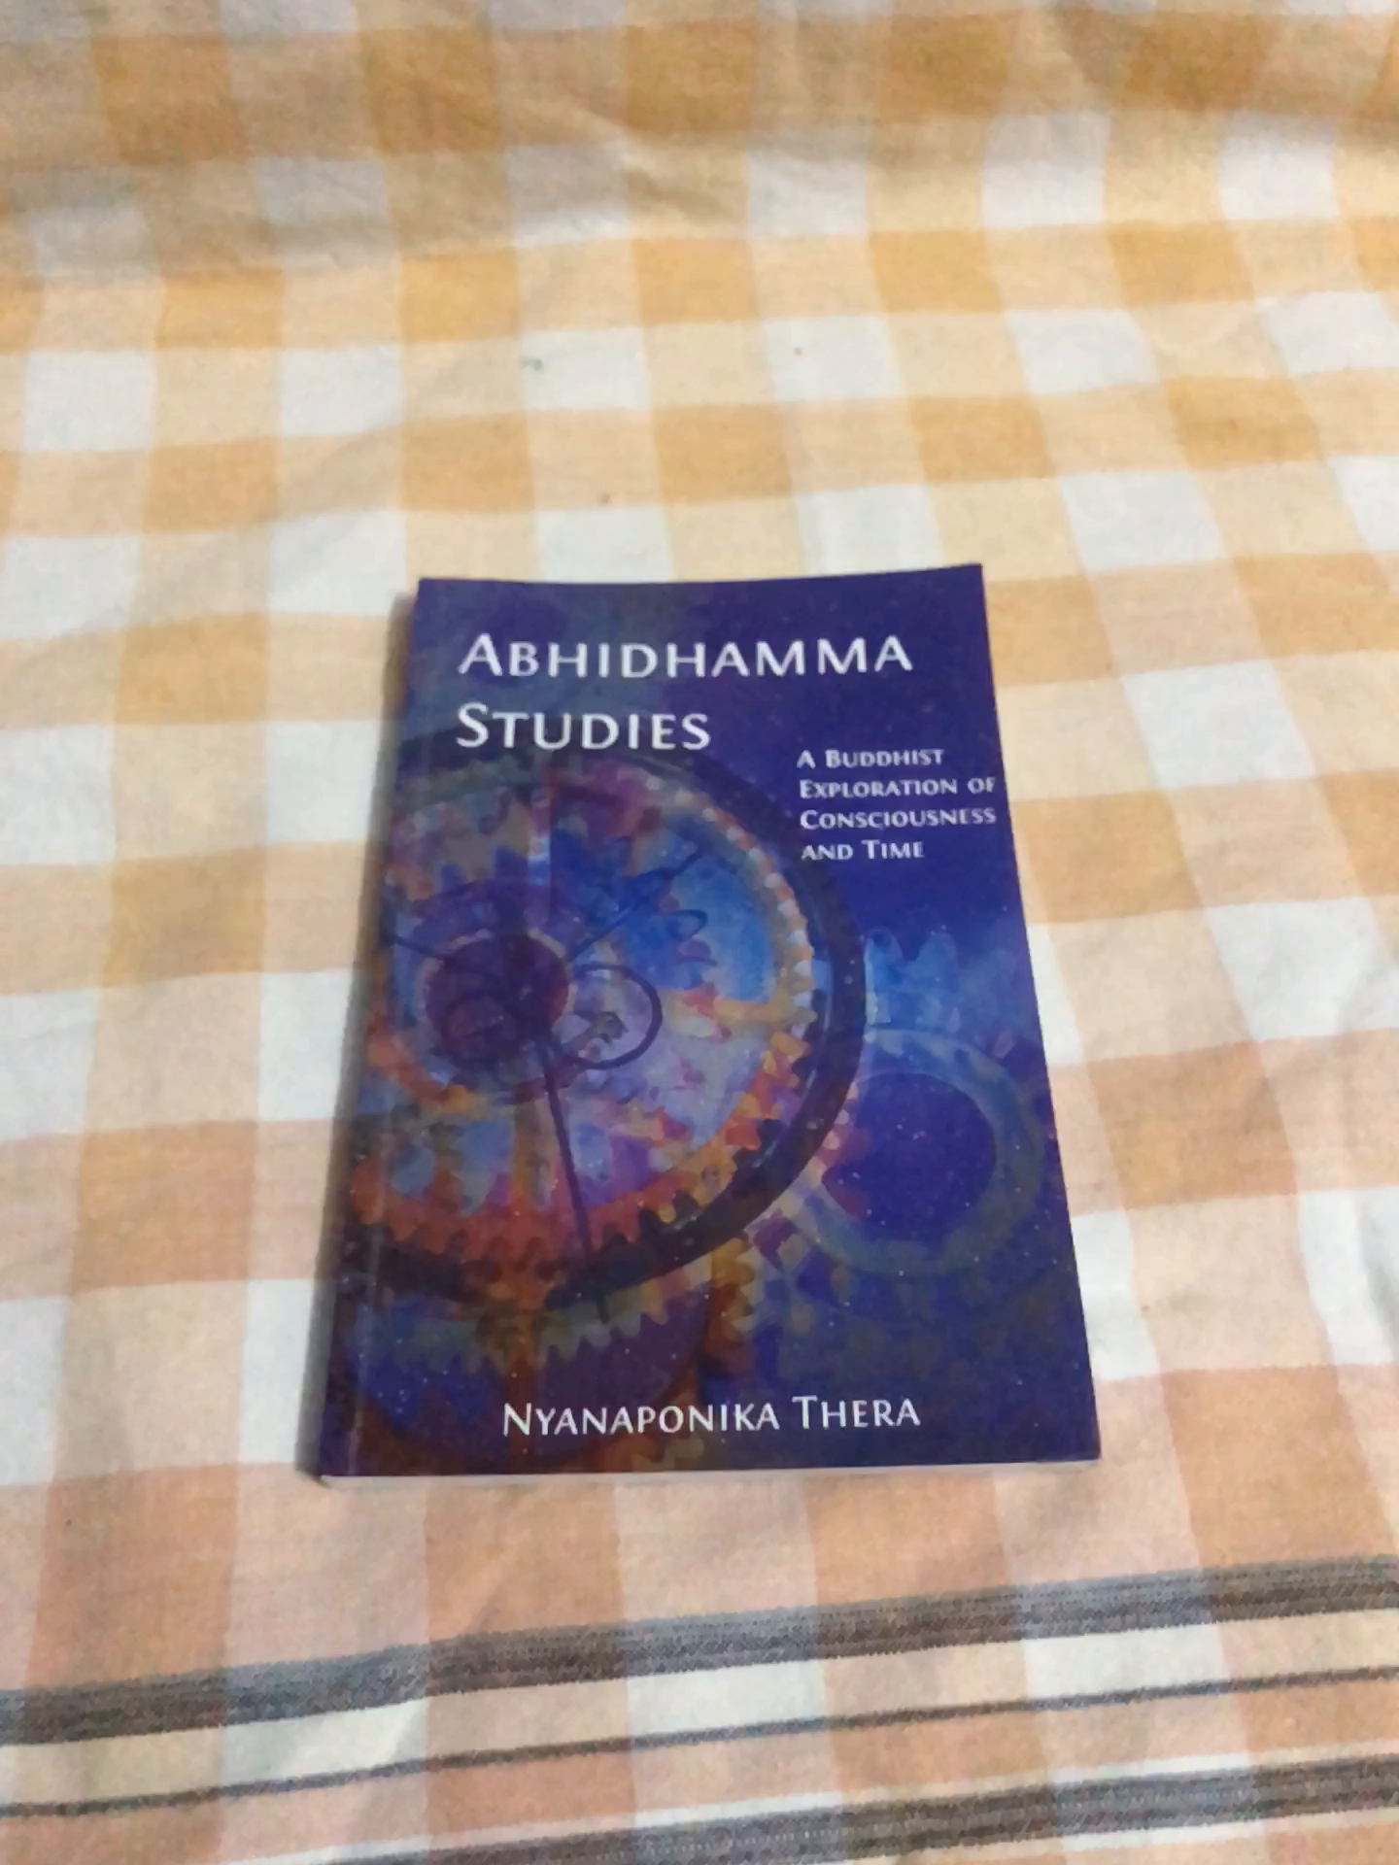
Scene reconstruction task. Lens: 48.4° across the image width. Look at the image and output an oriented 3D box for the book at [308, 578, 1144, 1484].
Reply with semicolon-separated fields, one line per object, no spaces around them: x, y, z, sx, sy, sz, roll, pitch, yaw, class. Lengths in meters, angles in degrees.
0.004;0.008;0.341;0.150;0.020;0.211;0;60;-1;book
